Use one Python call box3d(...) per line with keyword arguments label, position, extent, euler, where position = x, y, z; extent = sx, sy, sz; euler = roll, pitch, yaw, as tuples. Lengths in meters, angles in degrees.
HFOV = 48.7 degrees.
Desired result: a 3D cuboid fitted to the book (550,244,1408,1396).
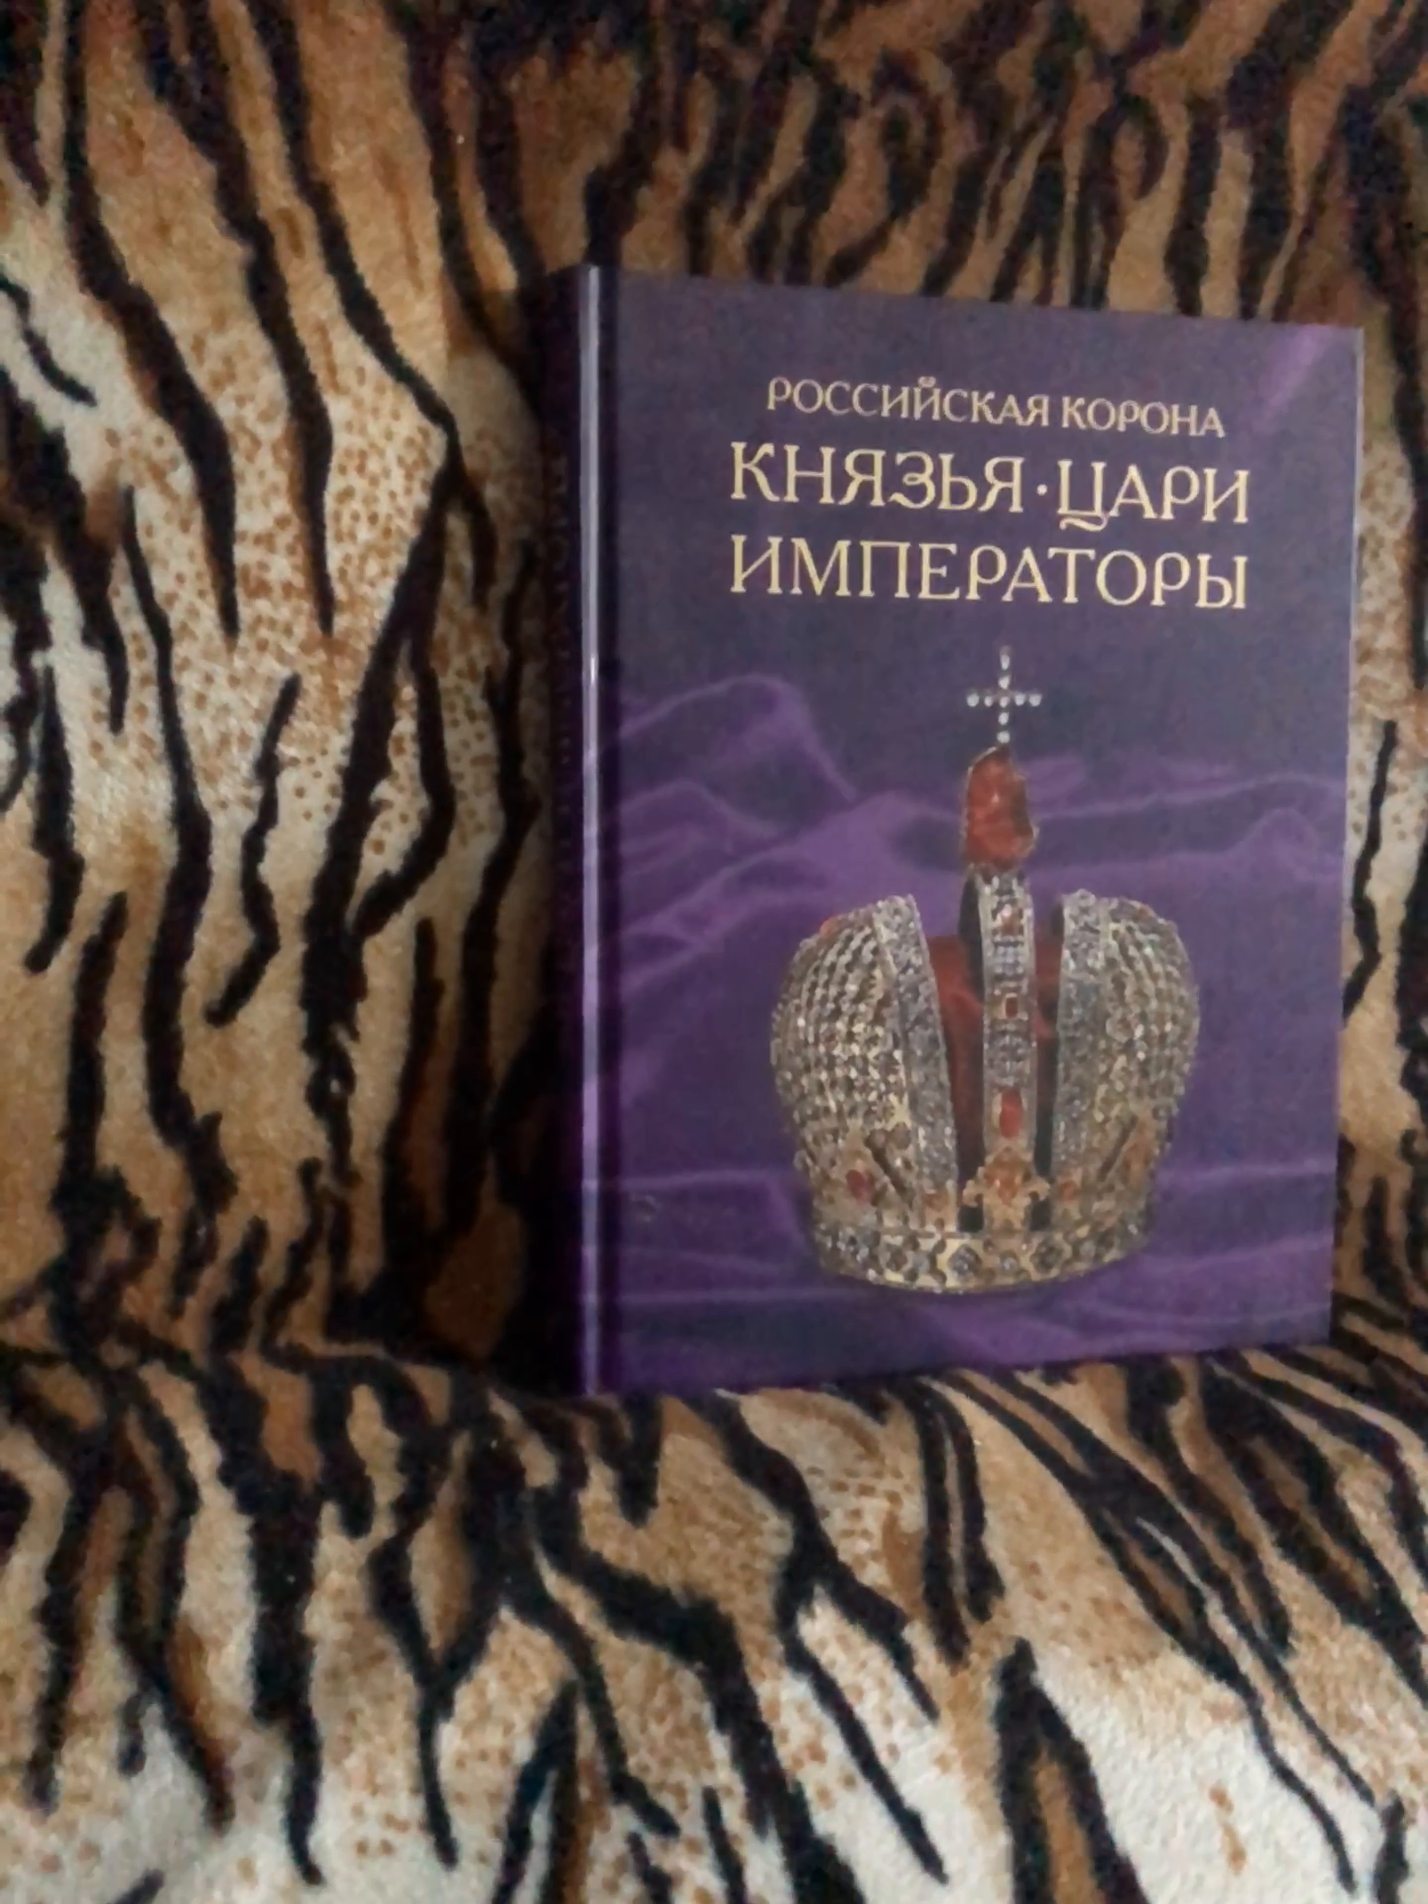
box3d(label="book", position=(0.071, -0.032, 0.423), extent=(0.223, 0.280, 0.035), euler=(-1, 5, -11))
